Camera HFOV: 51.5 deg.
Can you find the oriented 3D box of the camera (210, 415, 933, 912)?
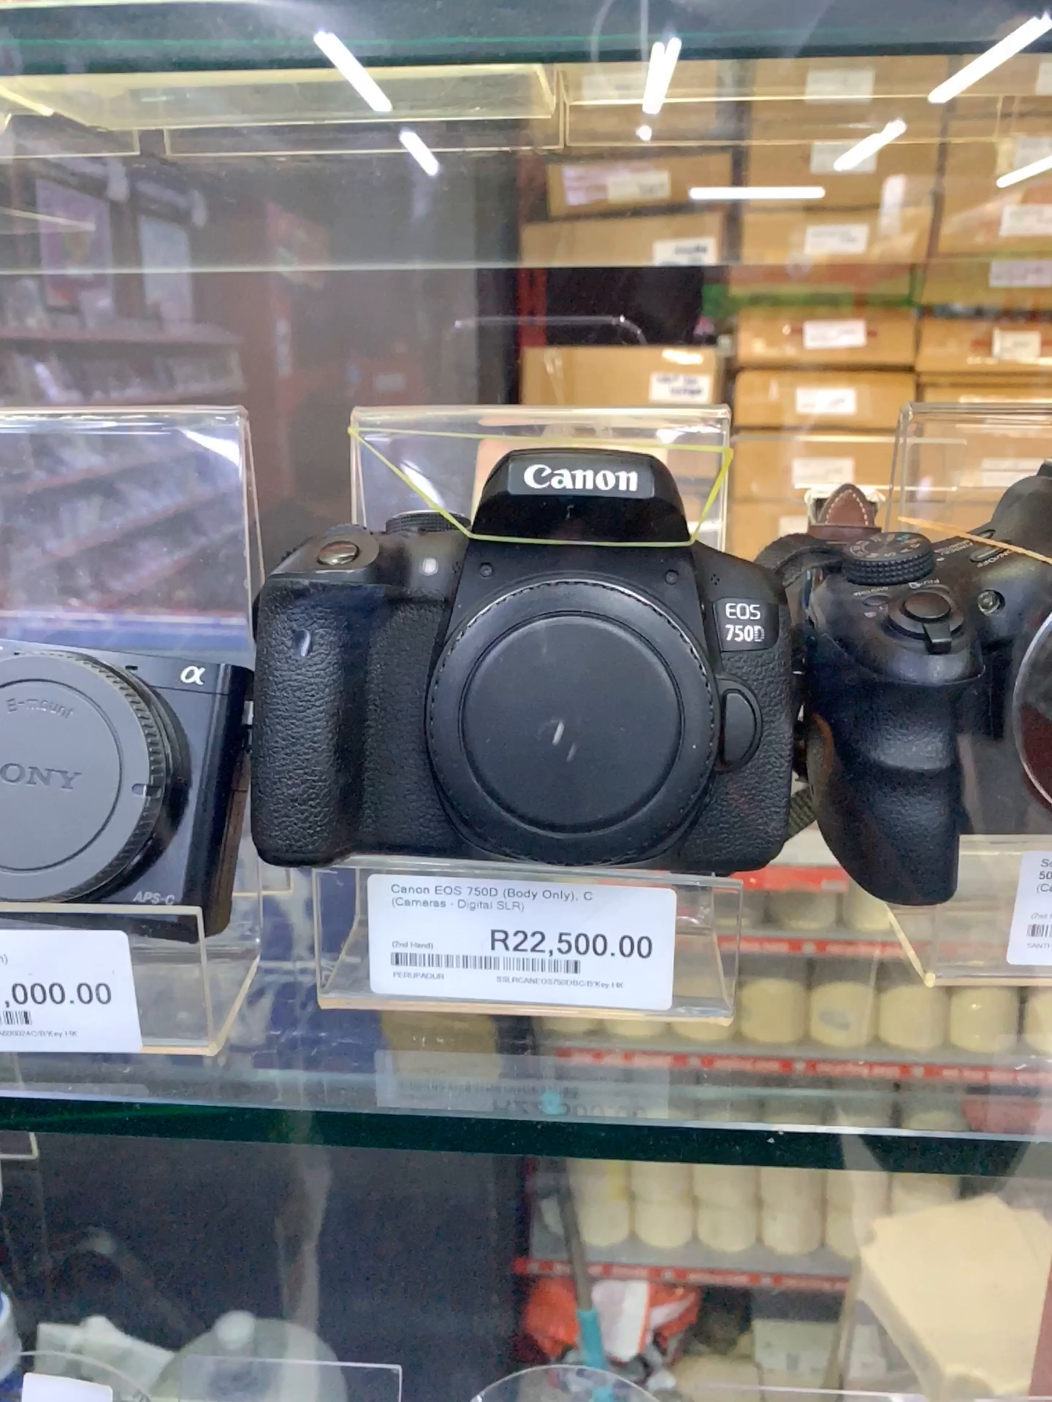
[{"bbox_3d":[0.006,-0.013,0.242,0.130,0.090,0.070,2,17,-1],"label":"camera"}]
